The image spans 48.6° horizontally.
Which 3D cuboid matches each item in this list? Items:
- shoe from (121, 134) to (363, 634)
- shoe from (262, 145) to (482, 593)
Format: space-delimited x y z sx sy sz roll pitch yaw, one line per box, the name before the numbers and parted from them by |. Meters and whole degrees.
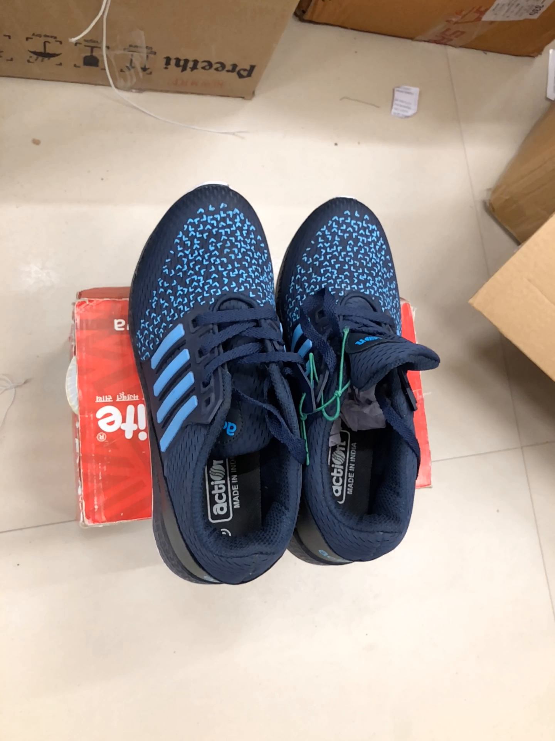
shoe | -0.036 0.008 0.399 0.101 0.133 0.263 -2 81 -20
shoe | 0.055 0.005 0.431 0.093 0.133 0.263 4 78 -19
